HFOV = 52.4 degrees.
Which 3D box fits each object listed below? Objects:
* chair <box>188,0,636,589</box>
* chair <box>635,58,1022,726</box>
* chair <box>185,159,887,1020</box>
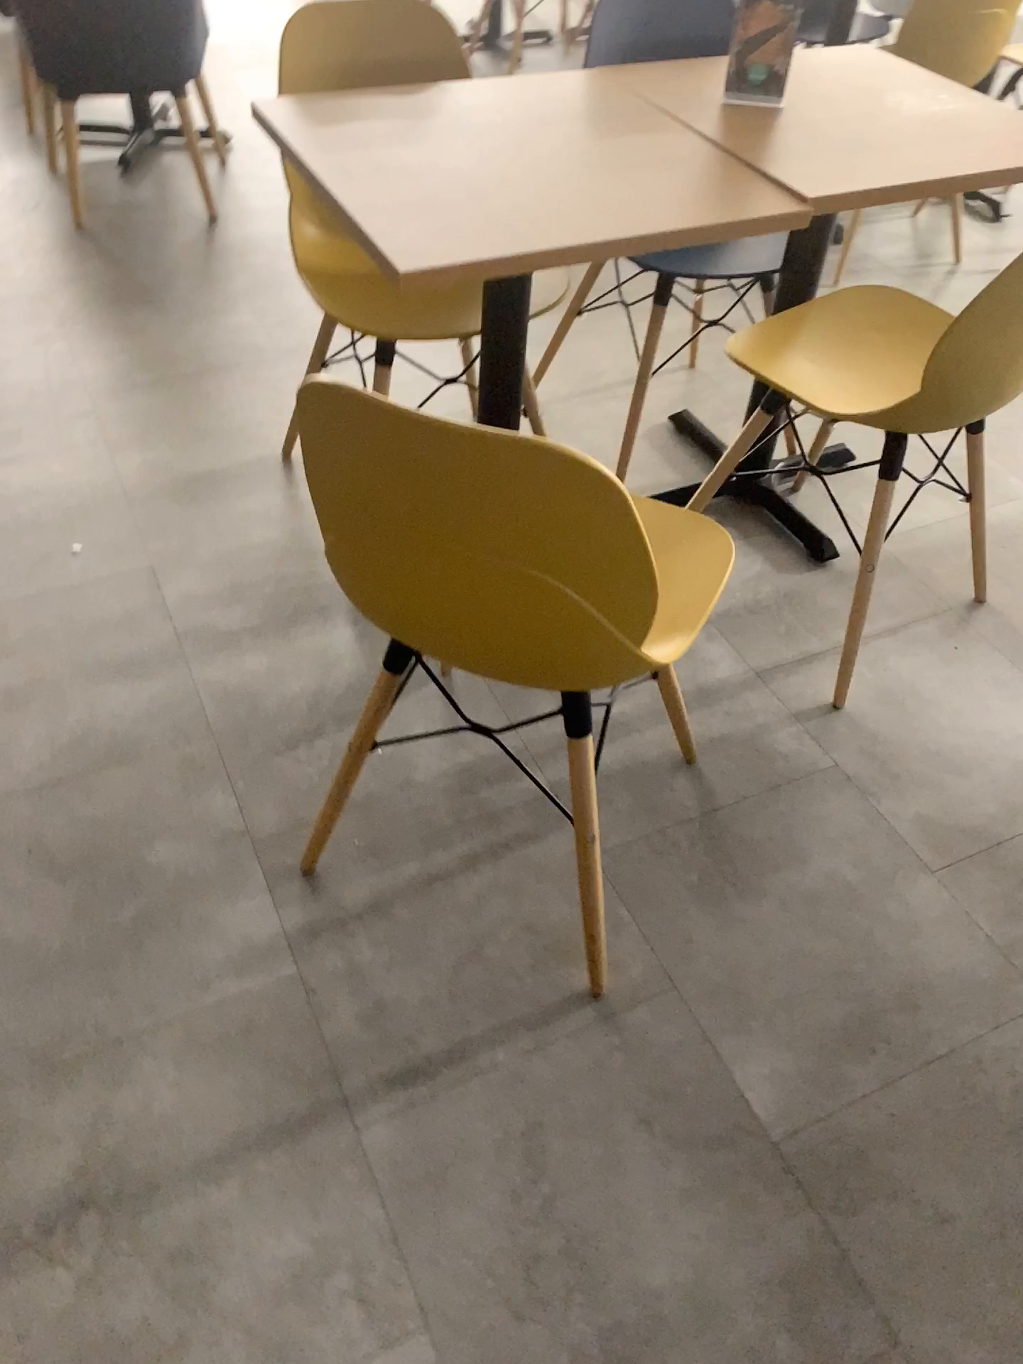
[{"bbox_3d":[-0.178,-0.673,1.797,0.498,0.776,0.495,-19,49,-21],"label":"chair"},{"bbox_3d":[0.595,-0.450,1.639,0.499,0.776,0.494,-28,53,-28],"label":"chair"},{"bbox_3d":[0.038,-0.092,1.255,0.517,0.786,0.496,18,47,14],"label":"chair"}]
